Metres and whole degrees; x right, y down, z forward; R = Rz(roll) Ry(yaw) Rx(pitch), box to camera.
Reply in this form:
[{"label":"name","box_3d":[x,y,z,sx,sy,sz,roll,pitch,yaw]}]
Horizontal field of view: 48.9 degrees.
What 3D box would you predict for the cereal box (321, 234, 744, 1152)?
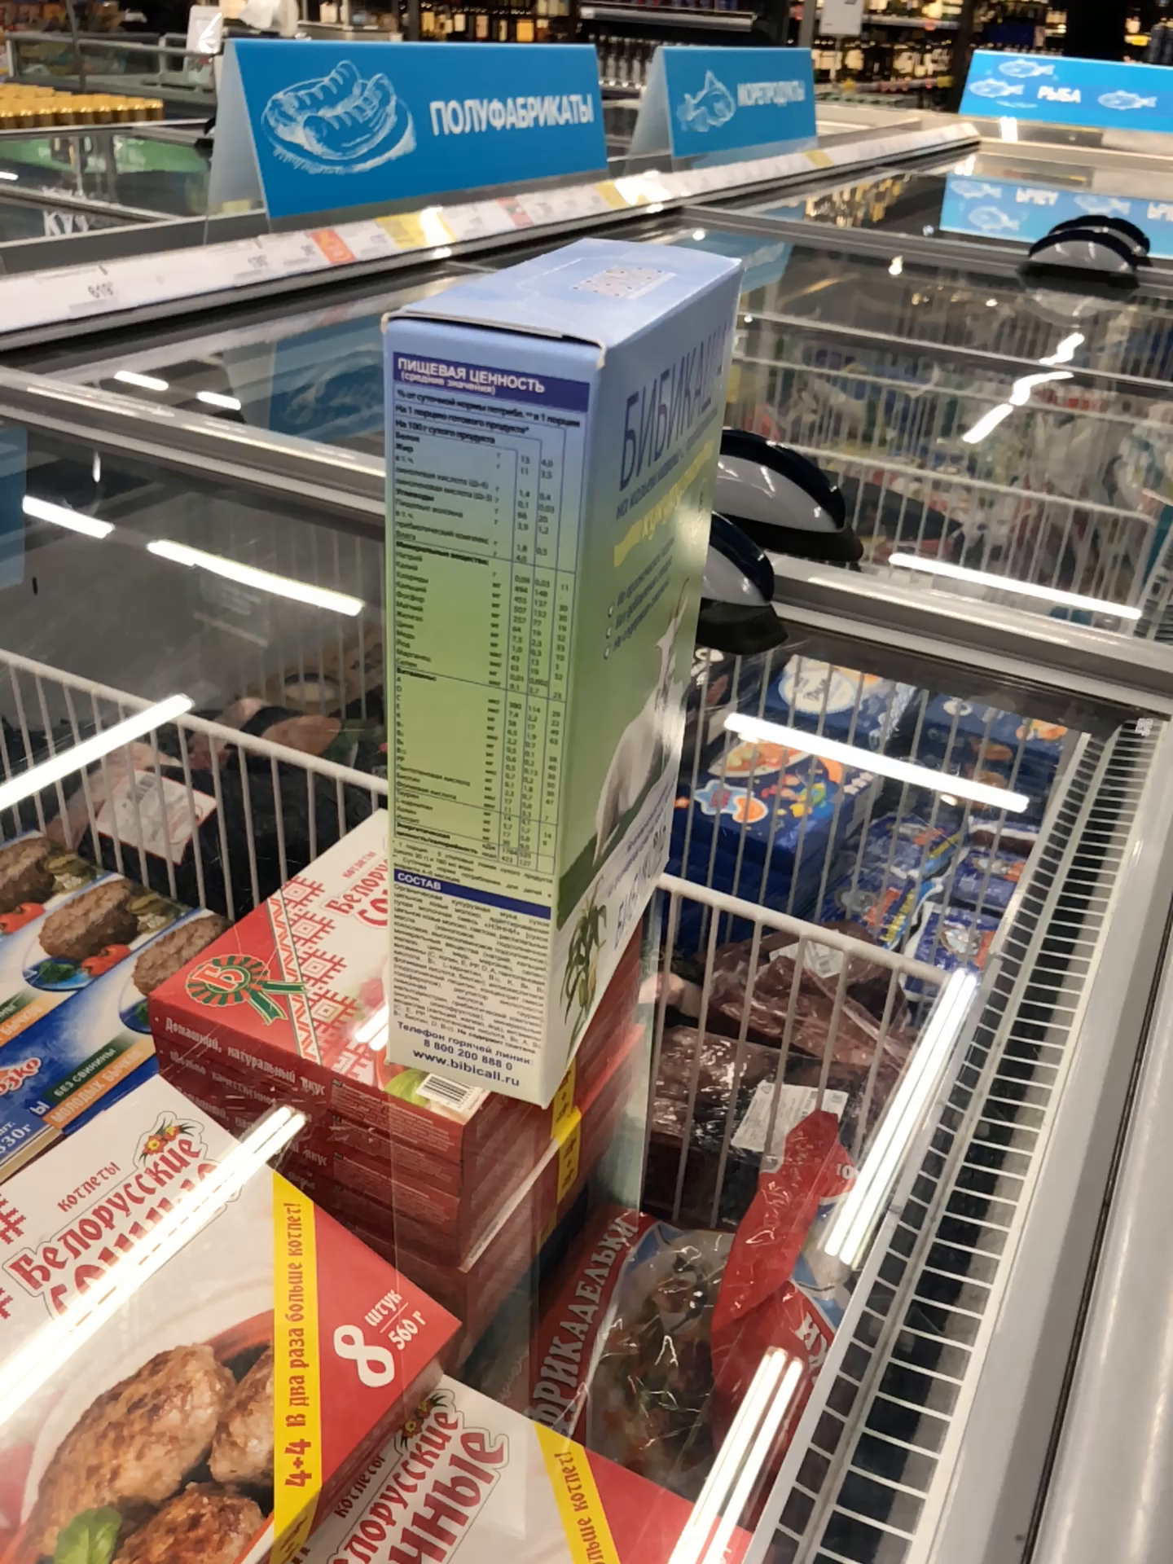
[{"label":"cereal box","box_3d":[-0.011,-0.029,0.346,0.050,0.199,0.141,13,31,14]}]
